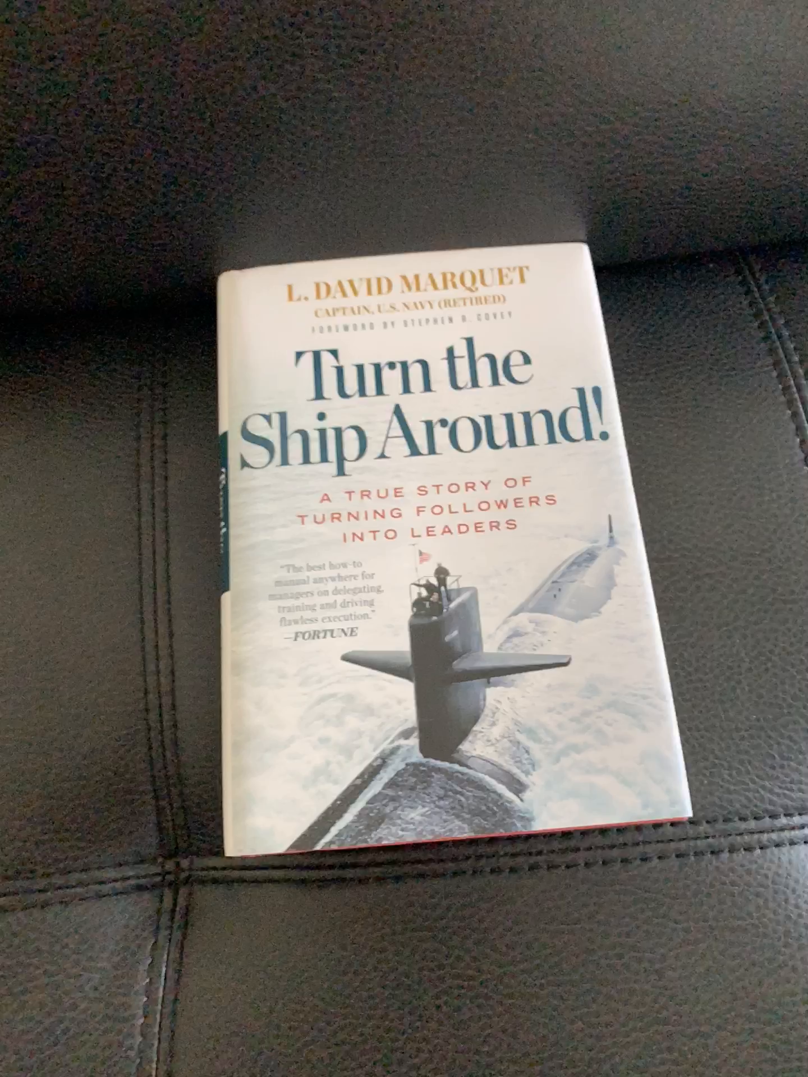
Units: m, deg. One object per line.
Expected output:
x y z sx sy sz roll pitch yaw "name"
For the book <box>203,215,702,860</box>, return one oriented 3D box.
0.006 -0.010 0.306 0.152 0.029 0.226 -5 71 0 "book"
